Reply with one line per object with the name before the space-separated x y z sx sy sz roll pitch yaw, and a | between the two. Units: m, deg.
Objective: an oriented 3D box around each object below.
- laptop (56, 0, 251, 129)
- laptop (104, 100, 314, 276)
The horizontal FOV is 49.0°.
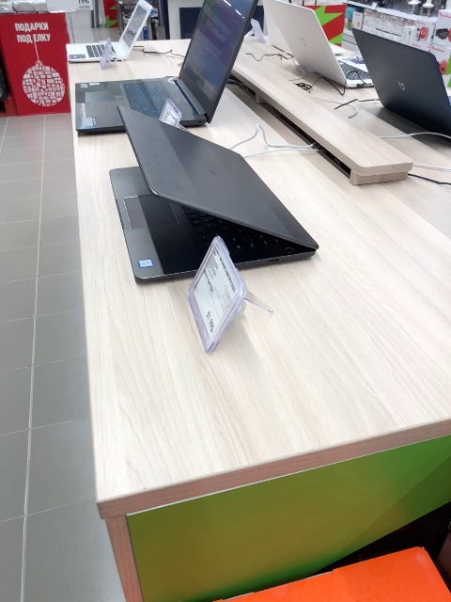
laptop | -0.172 -0.592 1.144 0.377 0.230 0.350 -10 38 -13
laptop | -0.048 -0.189 0.726 0.221 0.099 0.346 -10 37 -11
